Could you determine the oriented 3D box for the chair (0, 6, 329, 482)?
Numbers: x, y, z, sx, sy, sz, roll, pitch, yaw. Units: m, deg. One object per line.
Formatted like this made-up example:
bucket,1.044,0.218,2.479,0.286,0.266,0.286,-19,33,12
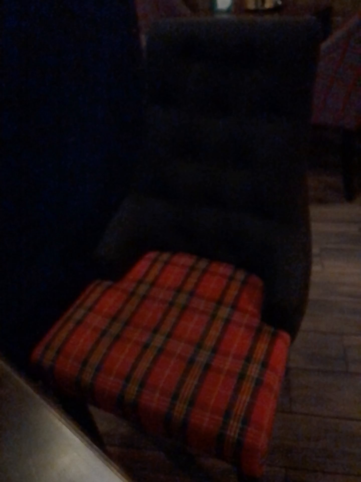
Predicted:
chair,-0.033,0.098,0.932,0.520,1.003,0.614,11,41,23
